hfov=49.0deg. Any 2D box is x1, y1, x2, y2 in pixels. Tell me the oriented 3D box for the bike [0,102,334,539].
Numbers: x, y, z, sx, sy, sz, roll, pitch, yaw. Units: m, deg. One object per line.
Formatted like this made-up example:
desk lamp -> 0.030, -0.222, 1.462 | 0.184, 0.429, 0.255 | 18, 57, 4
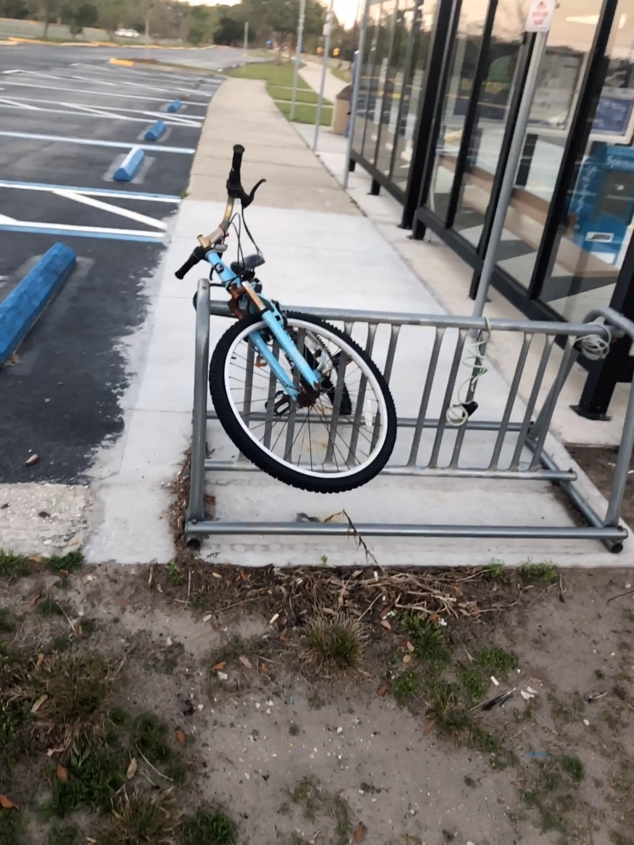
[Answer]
bike -> -0.421, -0.363, 2.277 | 0.548, 1.127, 0.942 | 13, 26, 12
